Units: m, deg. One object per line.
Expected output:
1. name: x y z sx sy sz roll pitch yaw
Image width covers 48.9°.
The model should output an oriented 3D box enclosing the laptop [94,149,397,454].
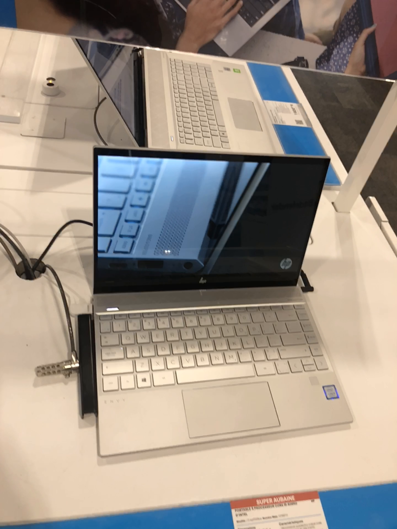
1. laptop: 0.035 0.030 0.513 0.298 0.182 0.273 -2 50 -16
